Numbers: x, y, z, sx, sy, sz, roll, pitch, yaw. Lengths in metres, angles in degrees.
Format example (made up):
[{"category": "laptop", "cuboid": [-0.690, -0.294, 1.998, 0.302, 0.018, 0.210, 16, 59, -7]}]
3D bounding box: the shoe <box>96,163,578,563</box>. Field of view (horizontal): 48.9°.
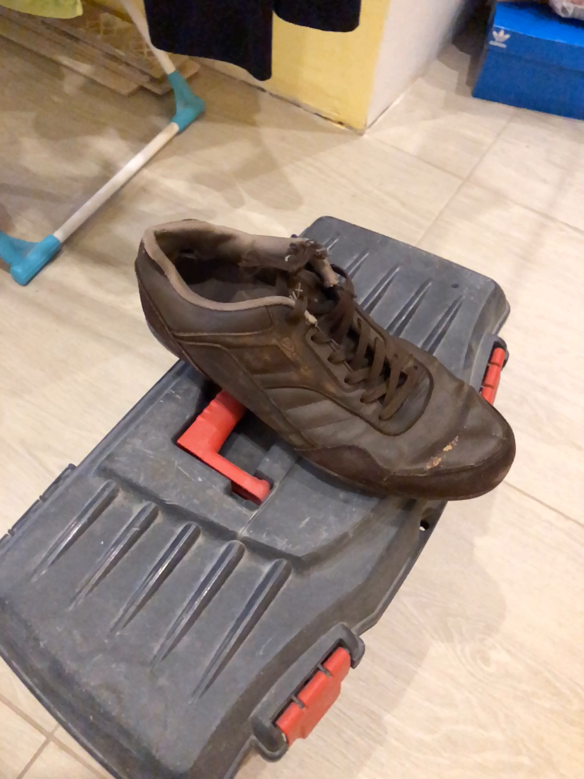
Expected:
[{"category": "shoe", "cuboid": [0.020, -0.025, 0.433, 0.280, 0.099, 0.110, 32, 60, 15]}]
